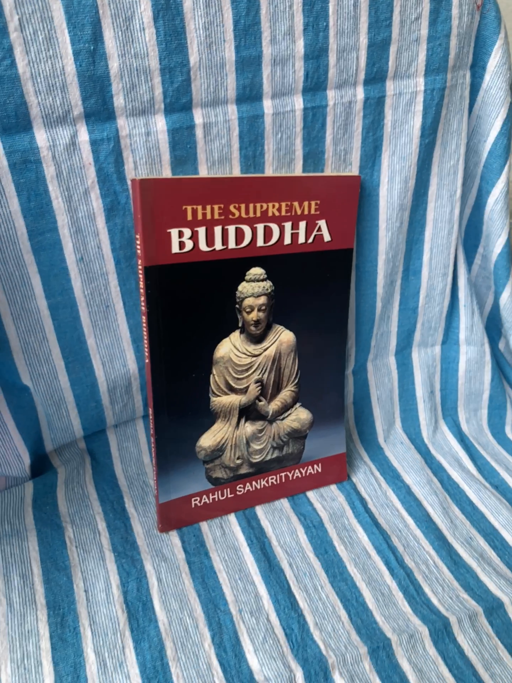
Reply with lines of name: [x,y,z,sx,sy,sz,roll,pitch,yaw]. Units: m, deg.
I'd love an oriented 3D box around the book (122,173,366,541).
book: [-0.001,0.007,0.367,0.150,0.219,0.020,-8,18,-25]
